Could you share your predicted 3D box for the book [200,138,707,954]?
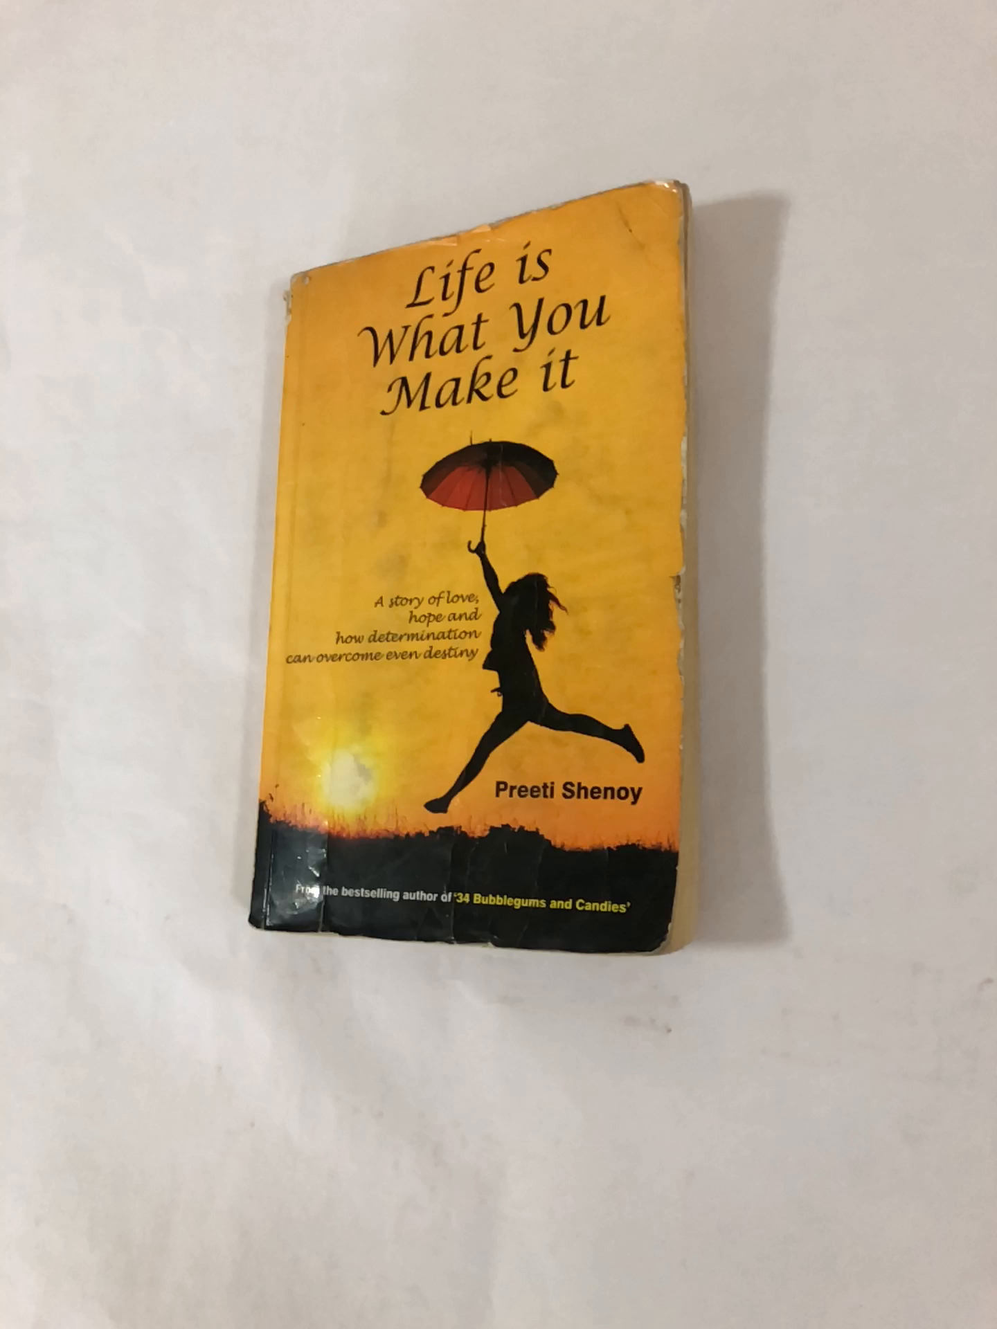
[{"bbox_3d":[-0.014,-0.031,0.314,0.141,0.020,0.210,-3,79,23],"label":"book"}]
